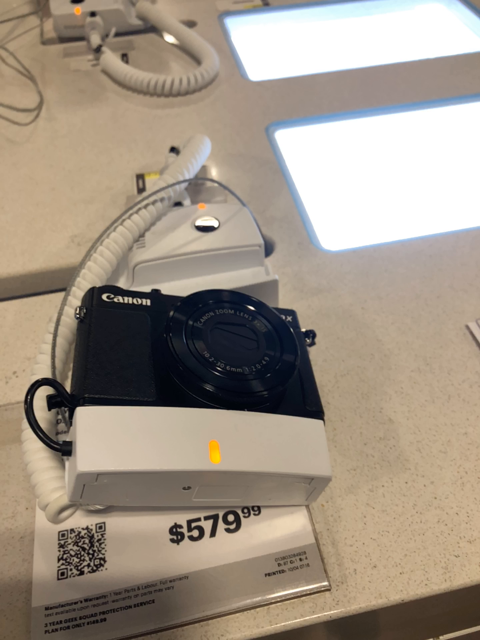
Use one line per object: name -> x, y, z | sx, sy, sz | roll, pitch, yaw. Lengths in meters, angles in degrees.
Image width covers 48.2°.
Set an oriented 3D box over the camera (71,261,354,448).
camera -> -0.013, 0.014, 0.216 | 0.100, 0.020, 0.070 | 6, 45, -18
